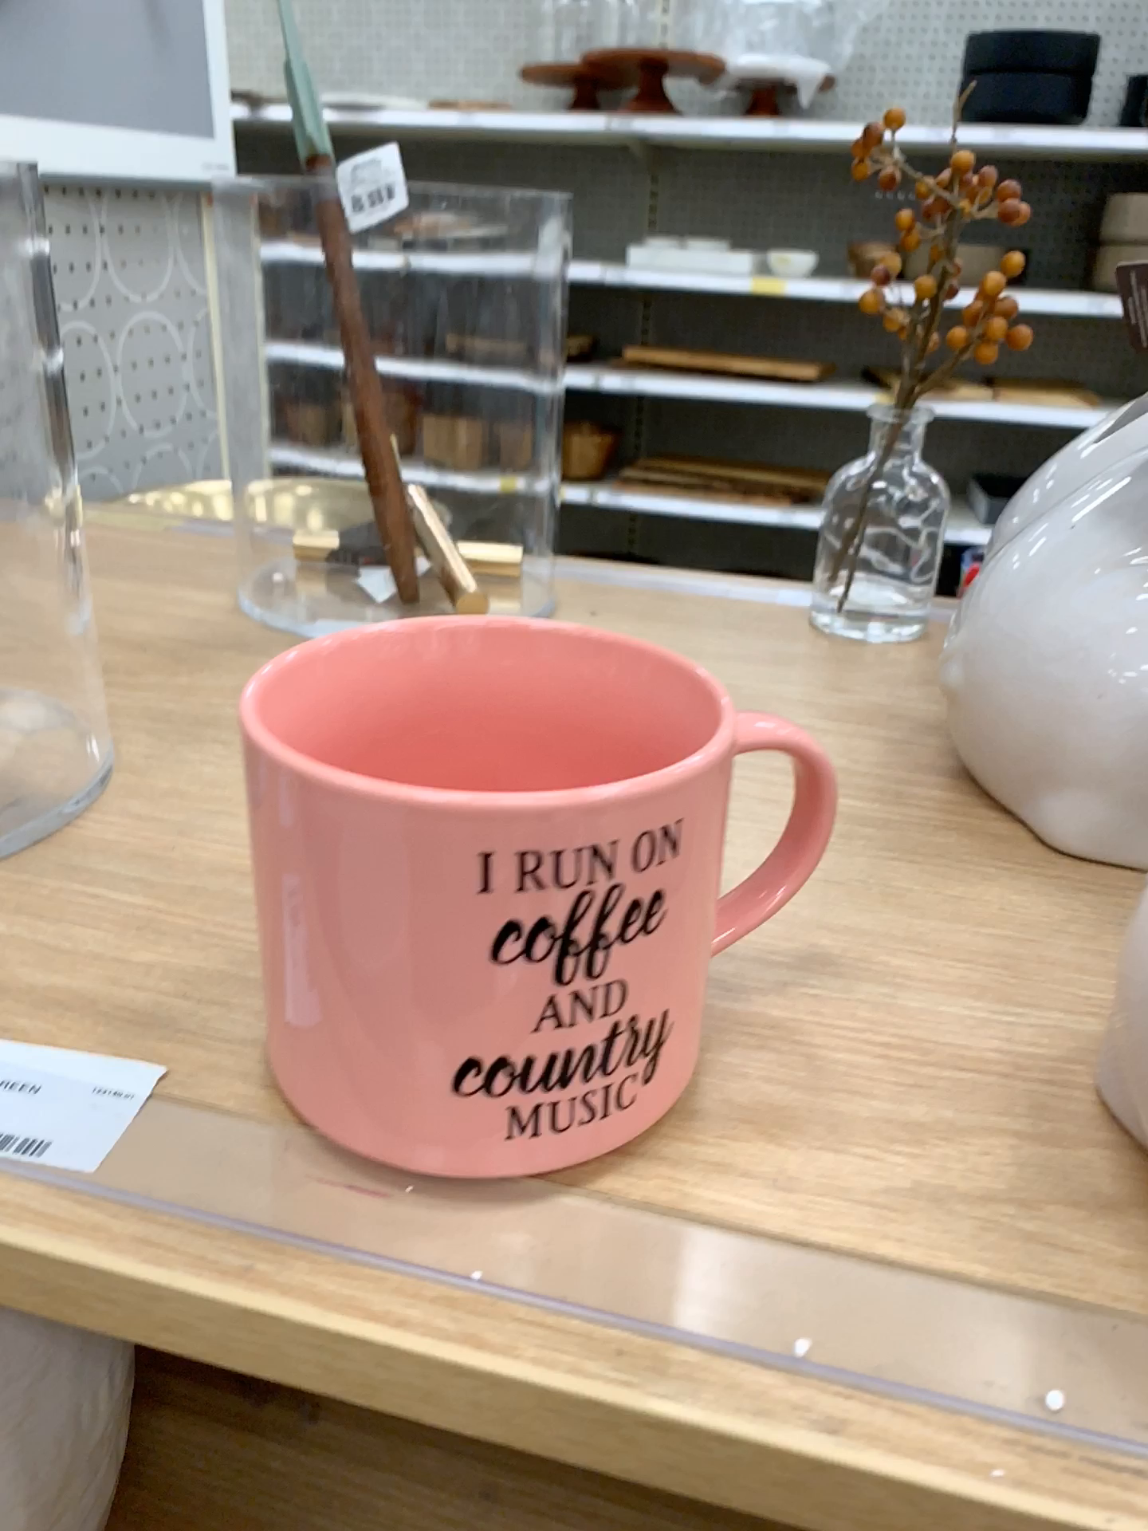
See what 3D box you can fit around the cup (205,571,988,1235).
[{"bbox_3d":[-0.004,0.017,0.262,0.133,0.085,0.104,-7,26,-19],"label":"cup"}]
